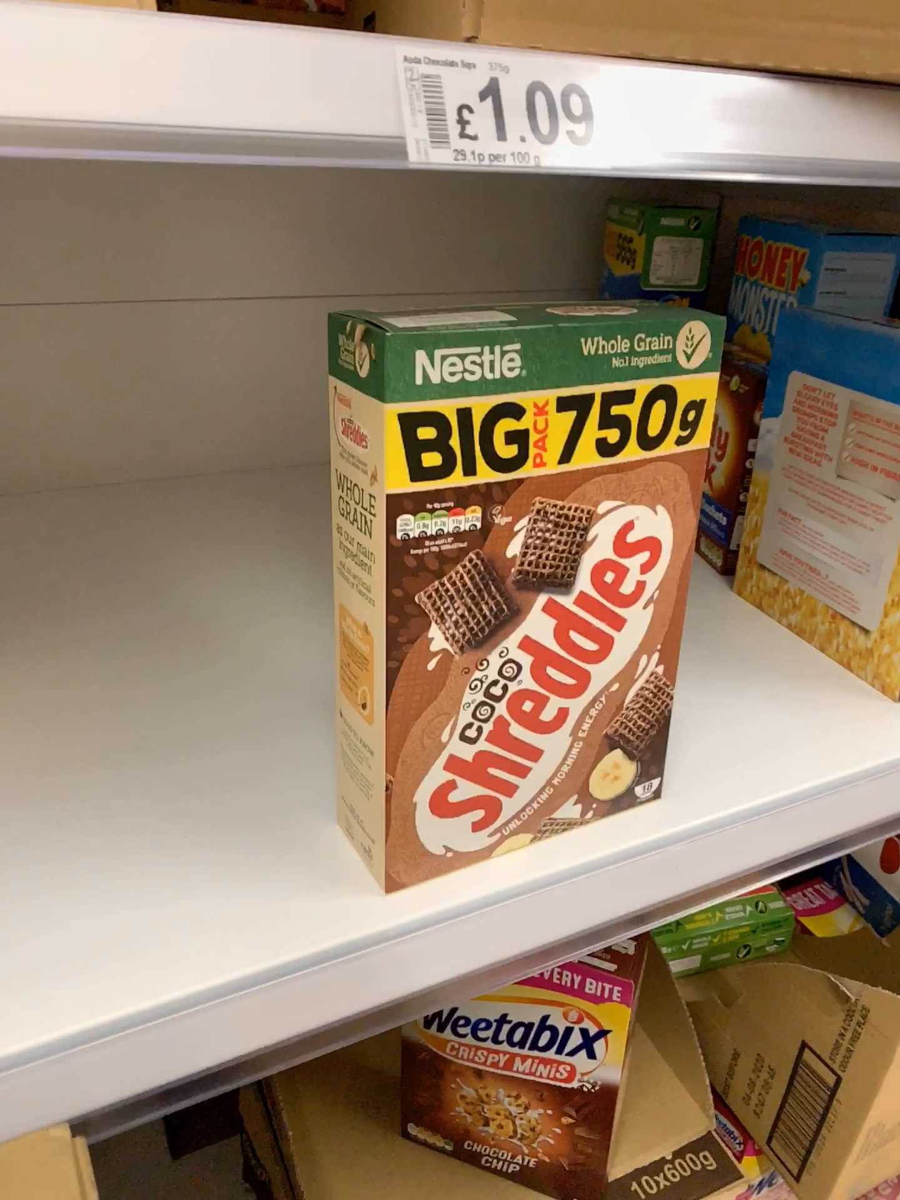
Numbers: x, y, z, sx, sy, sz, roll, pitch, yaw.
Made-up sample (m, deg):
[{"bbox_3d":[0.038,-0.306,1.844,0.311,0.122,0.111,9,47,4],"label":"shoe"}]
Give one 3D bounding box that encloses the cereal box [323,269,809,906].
[{"bbox_3d":[0.049,-0.013,0.476,0.211,0.288,0.080,-11,29,-27],"label":"cereal box"}]
